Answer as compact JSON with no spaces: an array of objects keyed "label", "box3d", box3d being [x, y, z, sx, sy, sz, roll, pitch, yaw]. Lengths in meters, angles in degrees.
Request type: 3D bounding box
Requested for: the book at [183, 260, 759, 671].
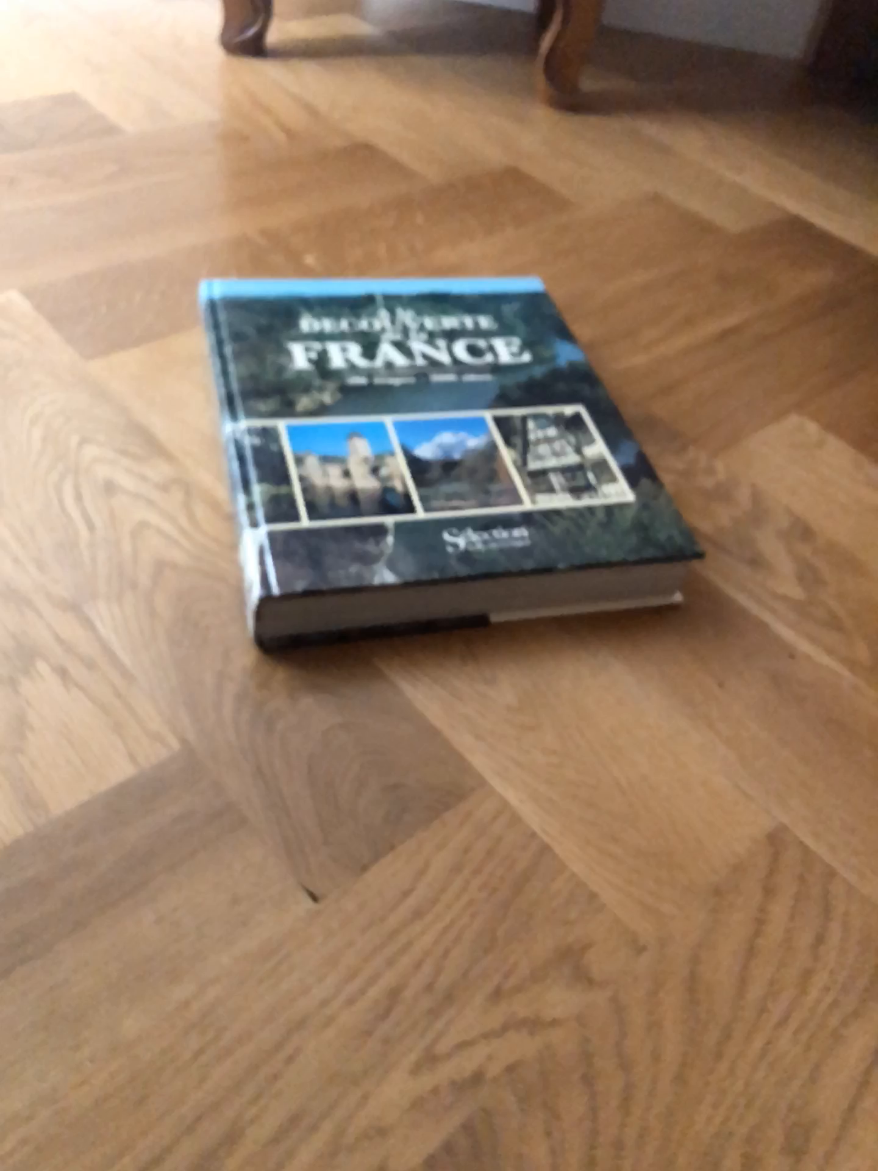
[{"label":"book","box3d":[-0.003,-0.092,0.549,0.251,0.040,0.291,-5,47,-16]}]
